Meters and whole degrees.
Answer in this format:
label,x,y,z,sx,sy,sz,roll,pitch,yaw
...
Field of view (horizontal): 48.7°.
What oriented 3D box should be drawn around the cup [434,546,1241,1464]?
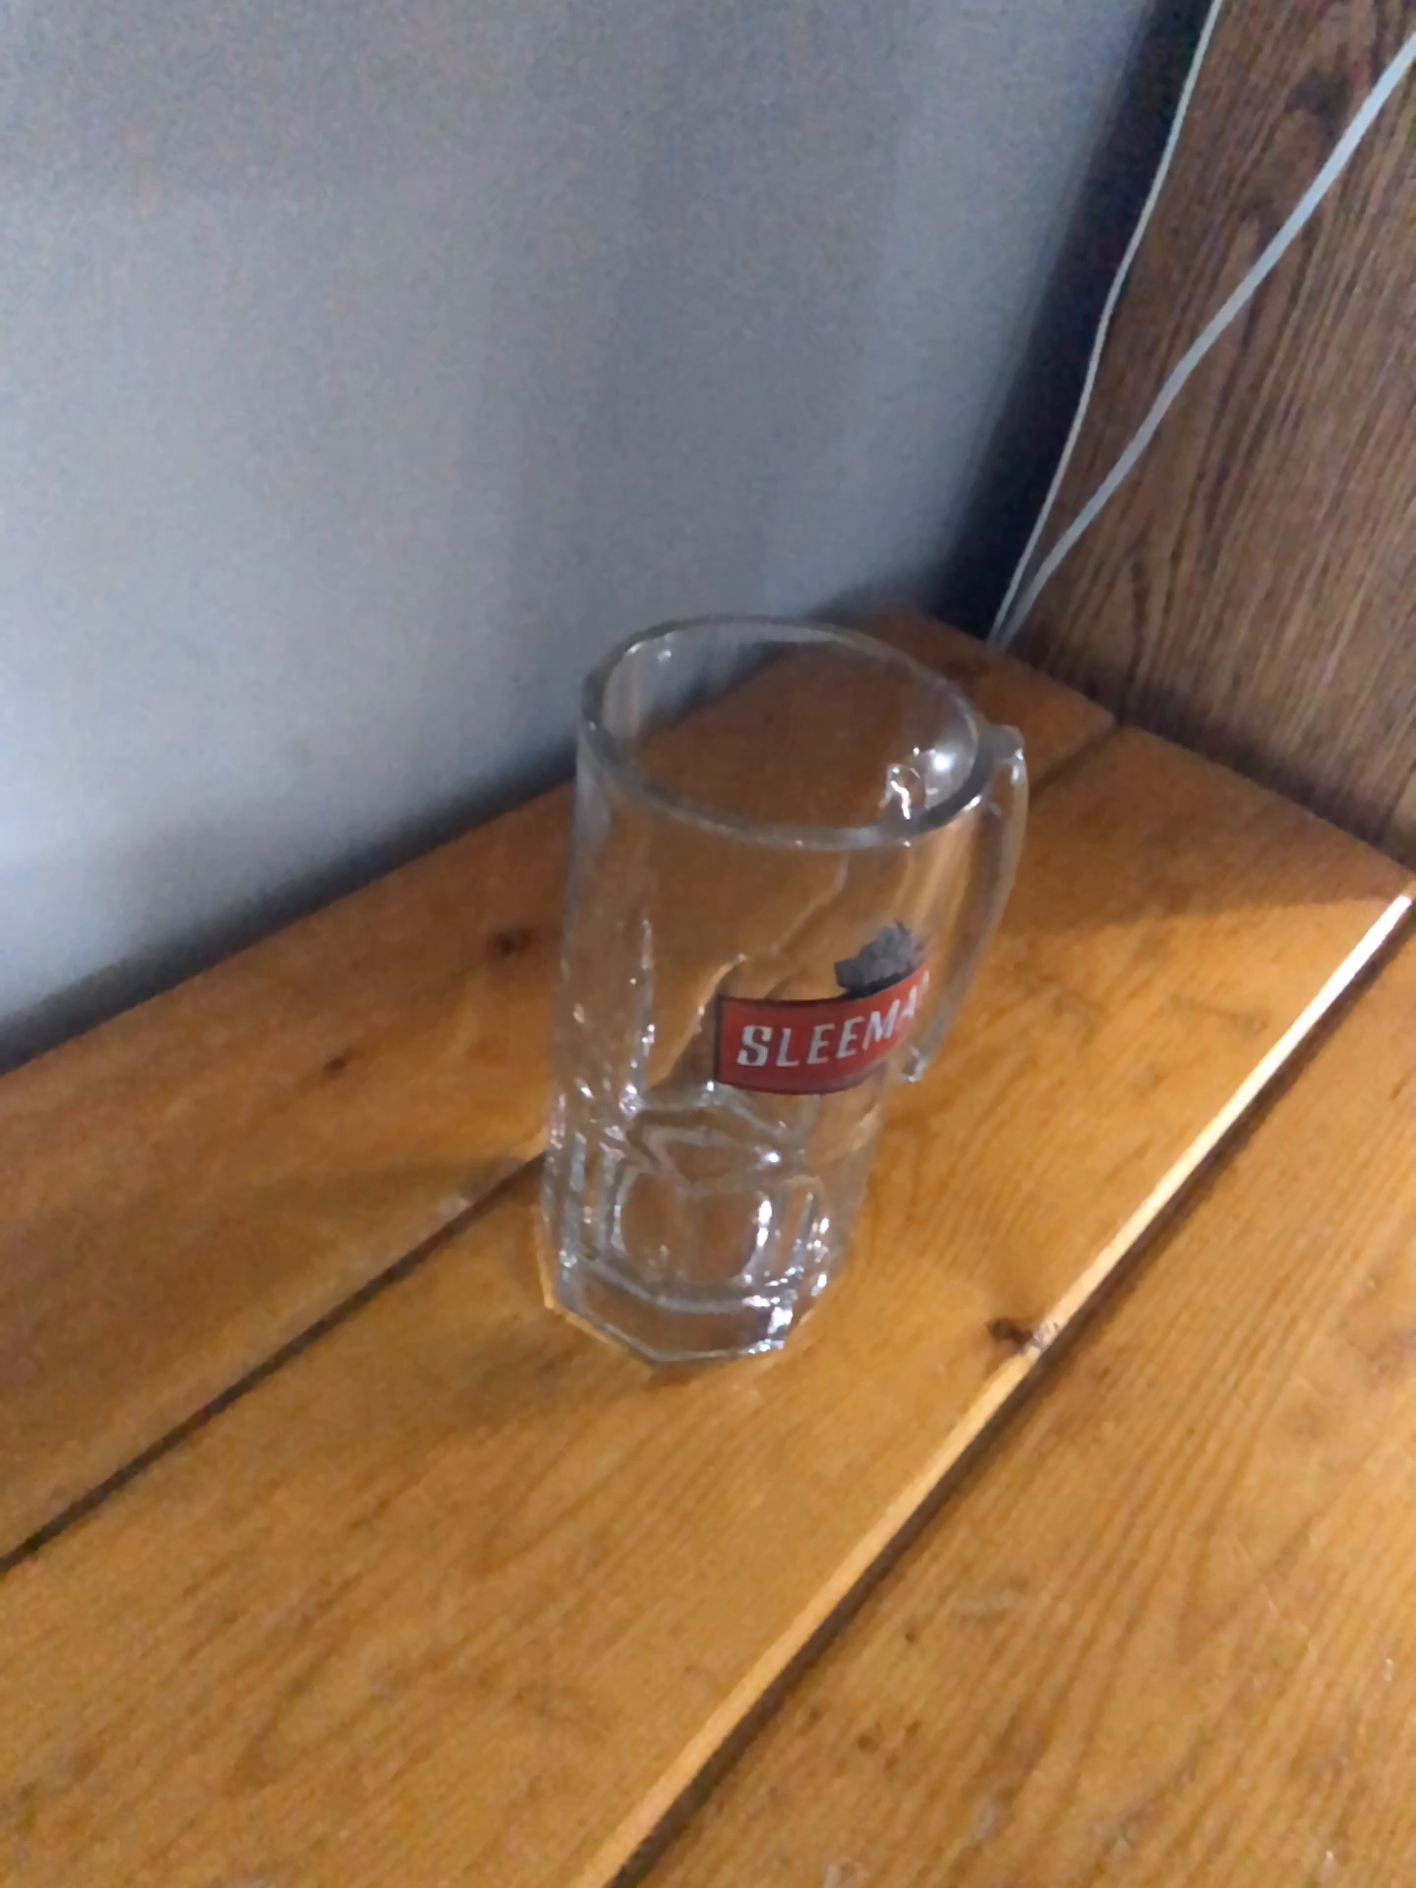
label,x,y,z,sx,sy,sz,roll,pitch,yaw
cup,0.022,0.017,0.453,0.160,0.209,0.110,-18,49,-30
